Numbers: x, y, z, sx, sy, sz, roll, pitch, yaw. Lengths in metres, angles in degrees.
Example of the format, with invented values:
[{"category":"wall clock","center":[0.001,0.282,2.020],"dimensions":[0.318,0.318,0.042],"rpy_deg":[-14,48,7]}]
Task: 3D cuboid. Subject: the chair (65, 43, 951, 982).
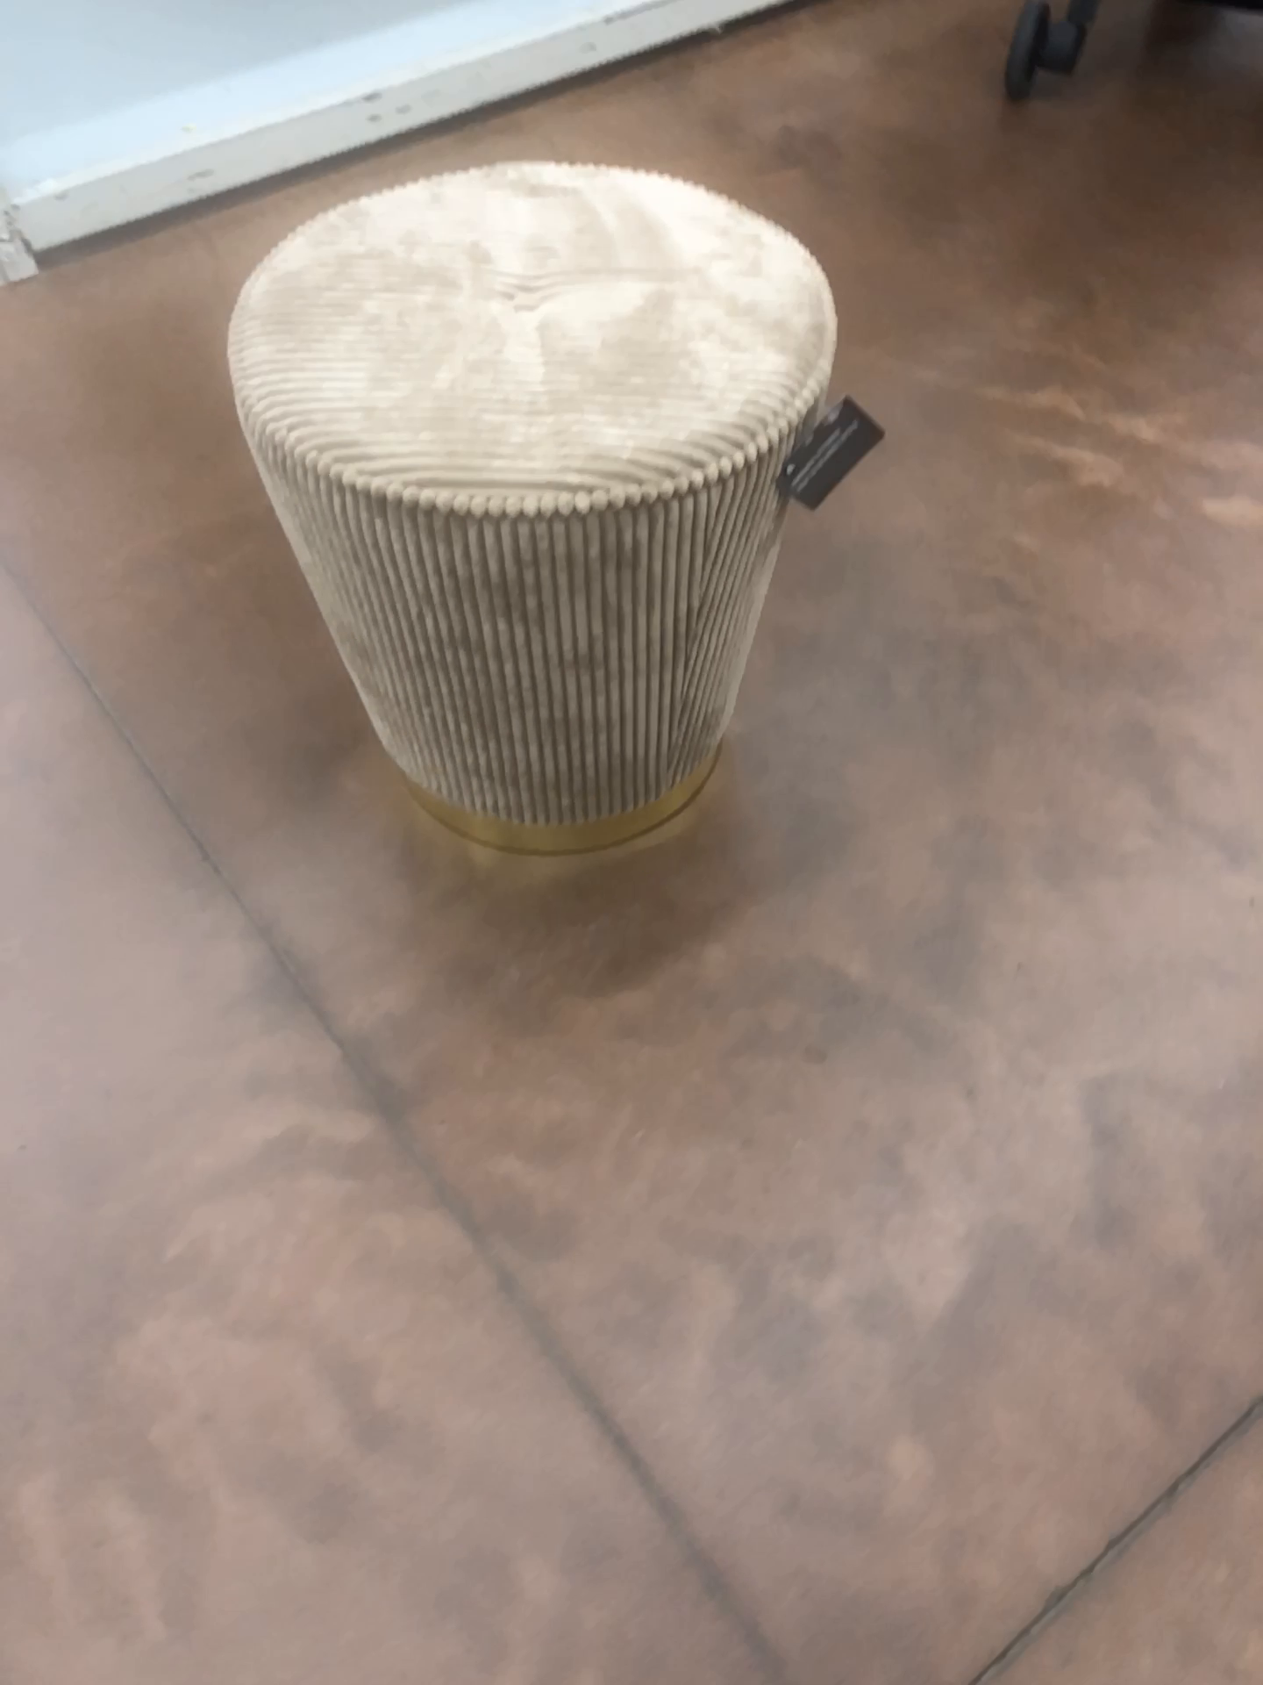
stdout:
[{"category":"chair","center":[-0.072,-0.274,1.143],"dimensions":[0.420,0.479,0.451],"rpy_deg":[30,58,23]}]
